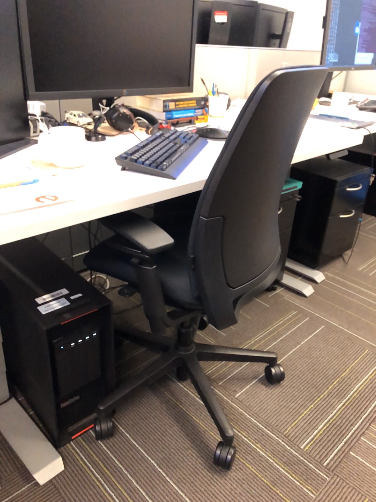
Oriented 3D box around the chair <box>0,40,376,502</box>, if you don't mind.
[{"bbox_3d":[0.005,-0.007,1.228,0.721,1.045,0.713,21,31,30],"label":"chair"}]
